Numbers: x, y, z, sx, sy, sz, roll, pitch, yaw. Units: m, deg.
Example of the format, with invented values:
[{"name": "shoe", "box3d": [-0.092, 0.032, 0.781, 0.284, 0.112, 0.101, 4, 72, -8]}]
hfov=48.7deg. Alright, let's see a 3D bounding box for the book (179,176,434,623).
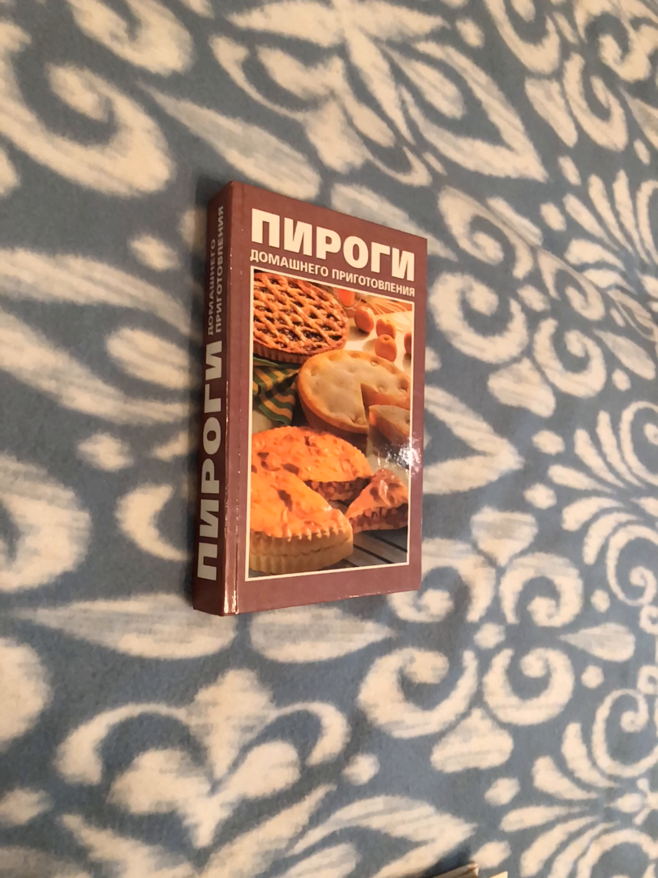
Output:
[{"name": "book", "box3d": [-0.006, -0.016, 0.382, 0.132, 0.040, 0.201, 4, 86, -39]}]
